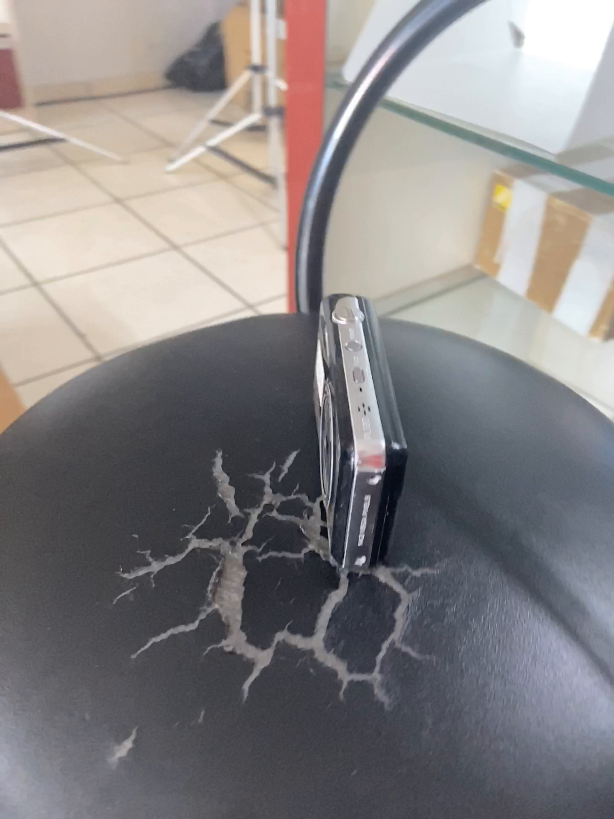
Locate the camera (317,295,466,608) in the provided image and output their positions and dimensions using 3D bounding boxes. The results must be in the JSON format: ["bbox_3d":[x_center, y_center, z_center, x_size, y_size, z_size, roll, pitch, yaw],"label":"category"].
[{"bbox_3d":[0.022,0.008,0.217,0.030,0.050,0.101,-1,39,-3],"label":"camera"}]
